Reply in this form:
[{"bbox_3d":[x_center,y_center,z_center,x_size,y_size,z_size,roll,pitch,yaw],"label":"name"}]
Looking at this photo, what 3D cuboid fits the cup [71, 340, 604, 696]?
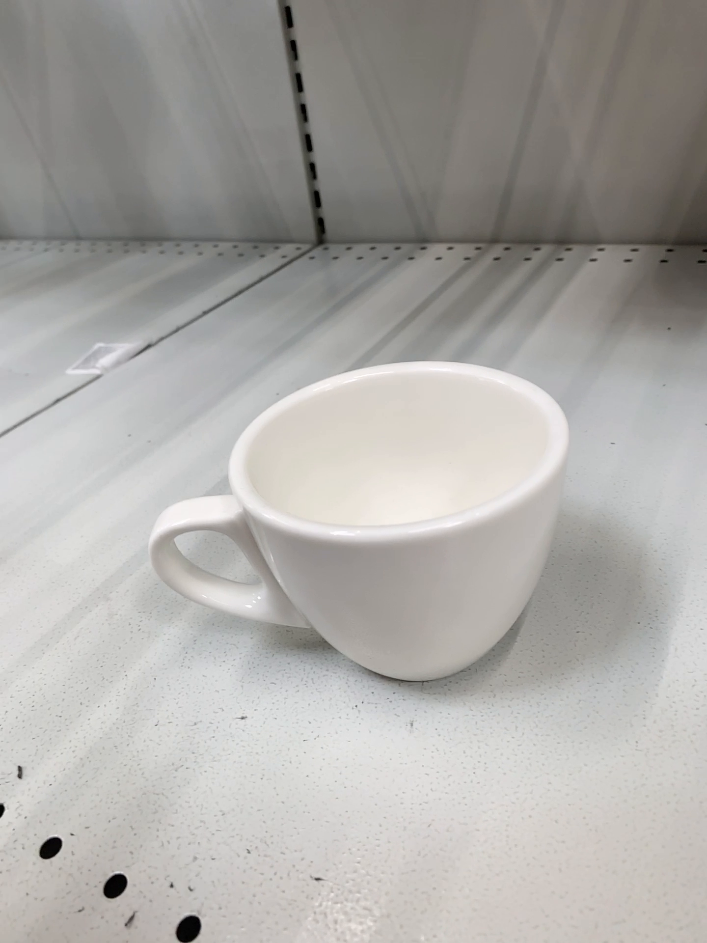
[{"bbox_3d":[0.001,0.011,0.234,0.131,0.062,0.095,-4,32,9],"label":"cup"}]
